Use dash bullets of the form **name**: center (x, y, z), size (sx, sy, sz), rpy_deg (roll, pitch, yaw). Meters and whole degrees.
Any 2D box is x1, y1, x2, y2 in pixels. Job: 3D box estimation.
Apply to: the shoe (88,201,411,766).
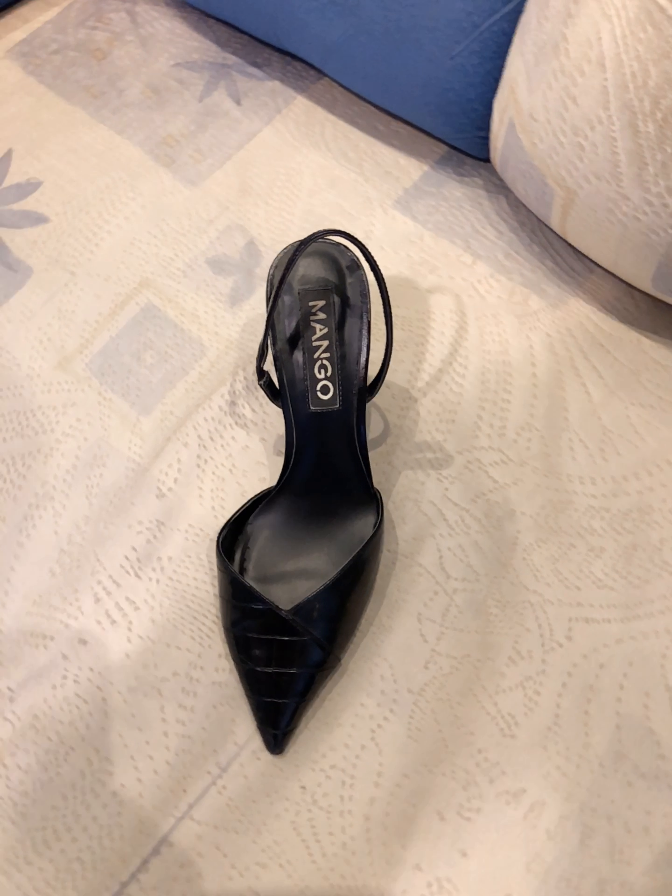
- **shoe**: center (-0.024, 0.018, 0.365), size (0.100, 0.129, 0.241), rpy_deg (5, 64, 3)
